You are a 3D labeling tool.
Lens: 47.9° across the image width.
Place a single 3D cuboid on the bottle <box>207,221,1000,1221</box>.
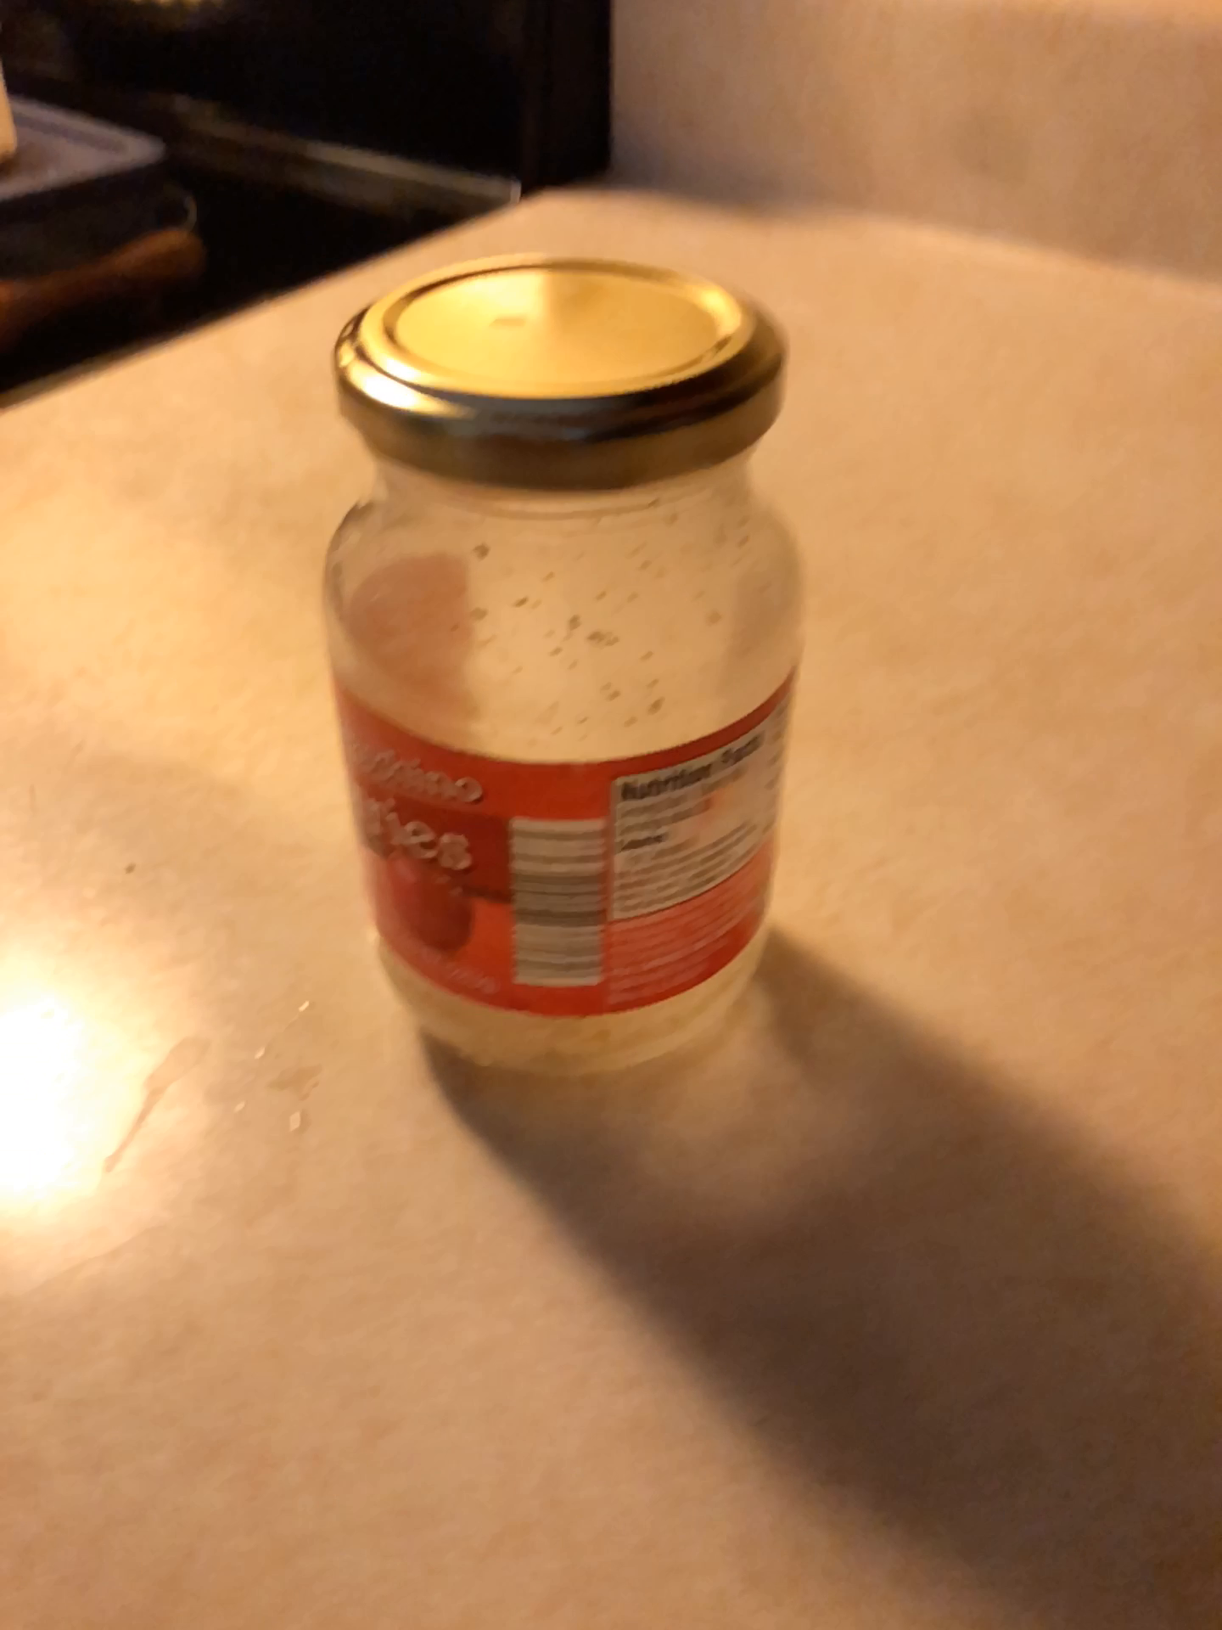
[{"bbox_3d":[-0.004,-0.015,0.199,0.070,0.110,0.070,0,39,0],"label":"bottle"}]
